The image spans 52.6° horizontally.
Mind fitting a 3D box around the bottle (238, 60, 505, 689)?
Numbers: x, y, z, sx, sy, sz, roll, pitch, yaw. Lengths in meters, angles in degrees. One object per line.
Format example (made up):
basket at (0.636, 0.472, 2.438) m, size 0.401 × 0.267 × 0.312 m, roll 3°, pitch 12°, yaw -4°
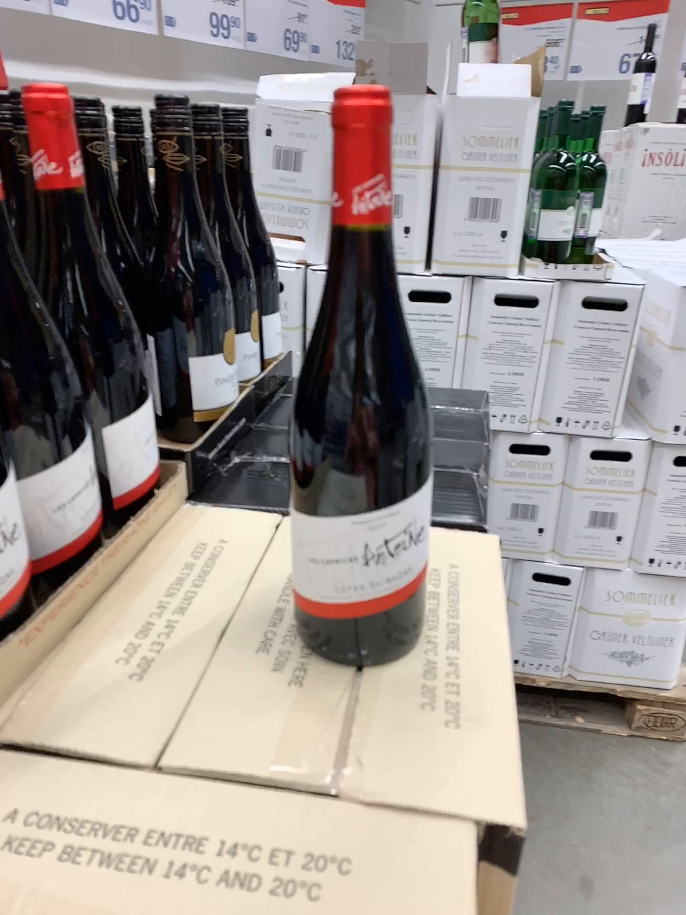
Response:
bottle at (0.004, -0.035, 0.374) m, size 0.090 × 0.298 × 0.090 m, roll 2°, pitch 23°, yaw -1°
